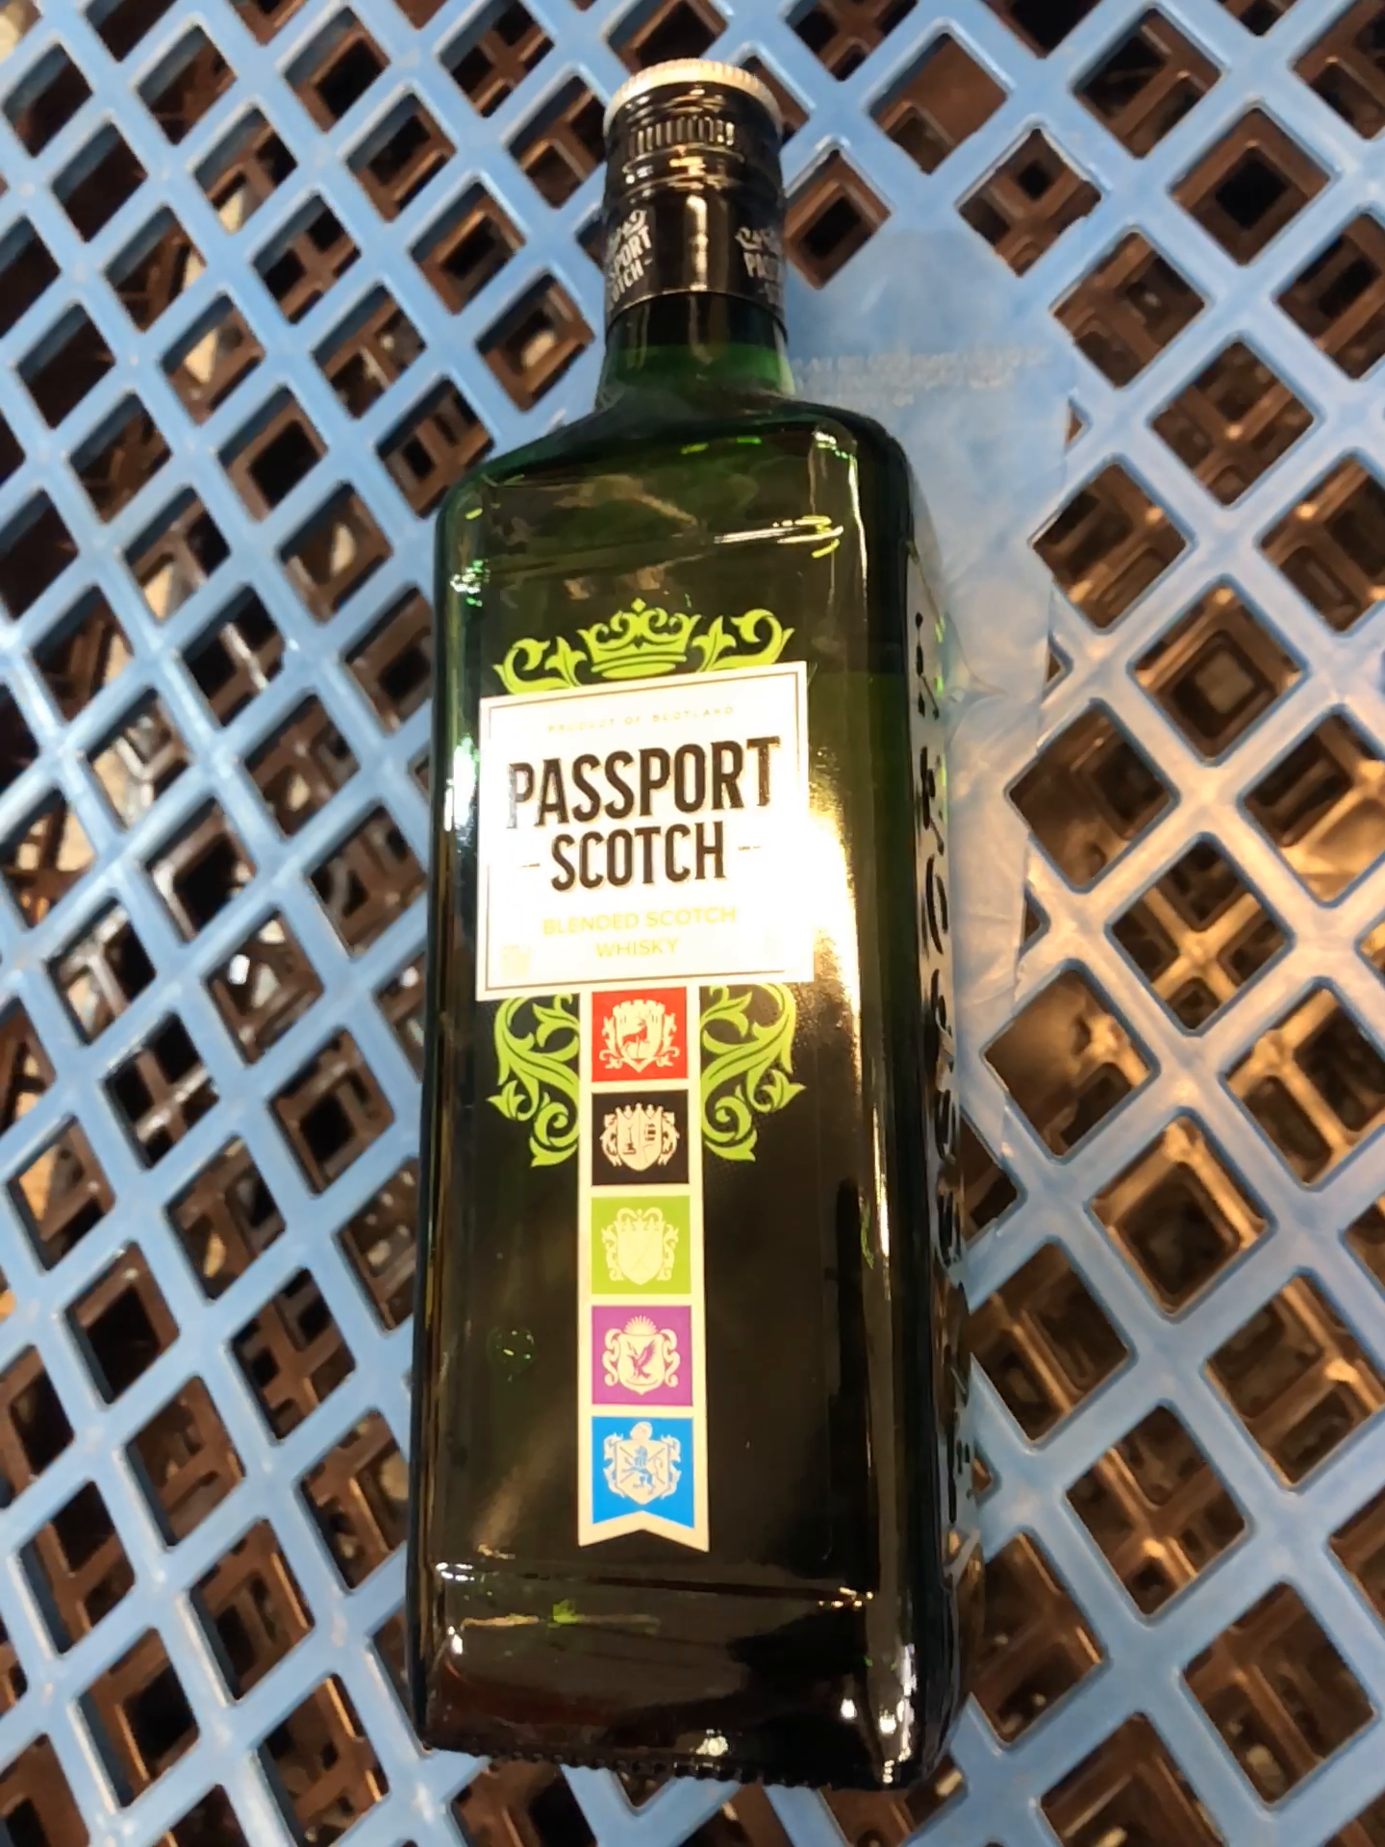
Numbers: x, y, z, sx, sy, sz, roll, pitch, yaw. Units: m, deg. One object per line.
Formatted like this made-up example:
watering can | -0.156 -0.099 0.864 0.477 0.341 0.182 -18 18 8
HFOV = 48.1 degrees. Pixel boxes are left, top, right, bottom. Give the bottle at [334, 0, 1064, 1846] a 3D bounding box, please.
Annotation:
bottle | 0.003 -0.027 0.237 0.080 0.070 0.280 -5 78 18
